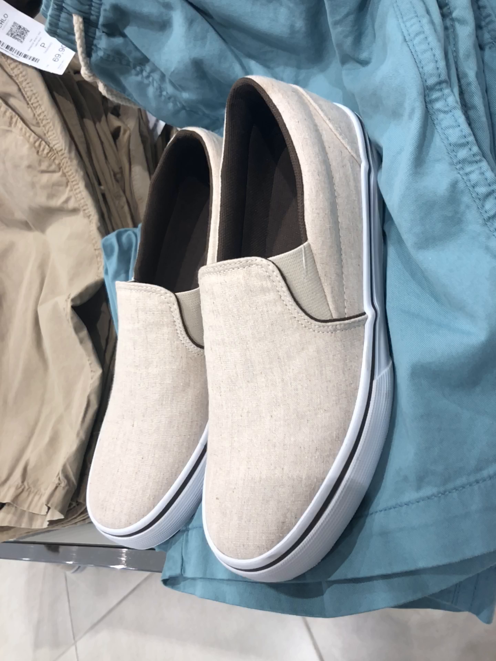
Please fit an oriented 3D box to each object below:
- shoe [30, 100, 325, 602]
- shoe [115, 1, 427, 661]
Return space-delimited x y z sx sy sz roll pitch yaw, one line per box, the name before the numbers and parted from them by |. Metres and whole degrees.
shoe | -0.042 0.010 0.346 0.101 0.089 0.260 4 80 46
shoe | 0.019 -0.002 0.275 0.100 0.089 0.260 -6 73 43
